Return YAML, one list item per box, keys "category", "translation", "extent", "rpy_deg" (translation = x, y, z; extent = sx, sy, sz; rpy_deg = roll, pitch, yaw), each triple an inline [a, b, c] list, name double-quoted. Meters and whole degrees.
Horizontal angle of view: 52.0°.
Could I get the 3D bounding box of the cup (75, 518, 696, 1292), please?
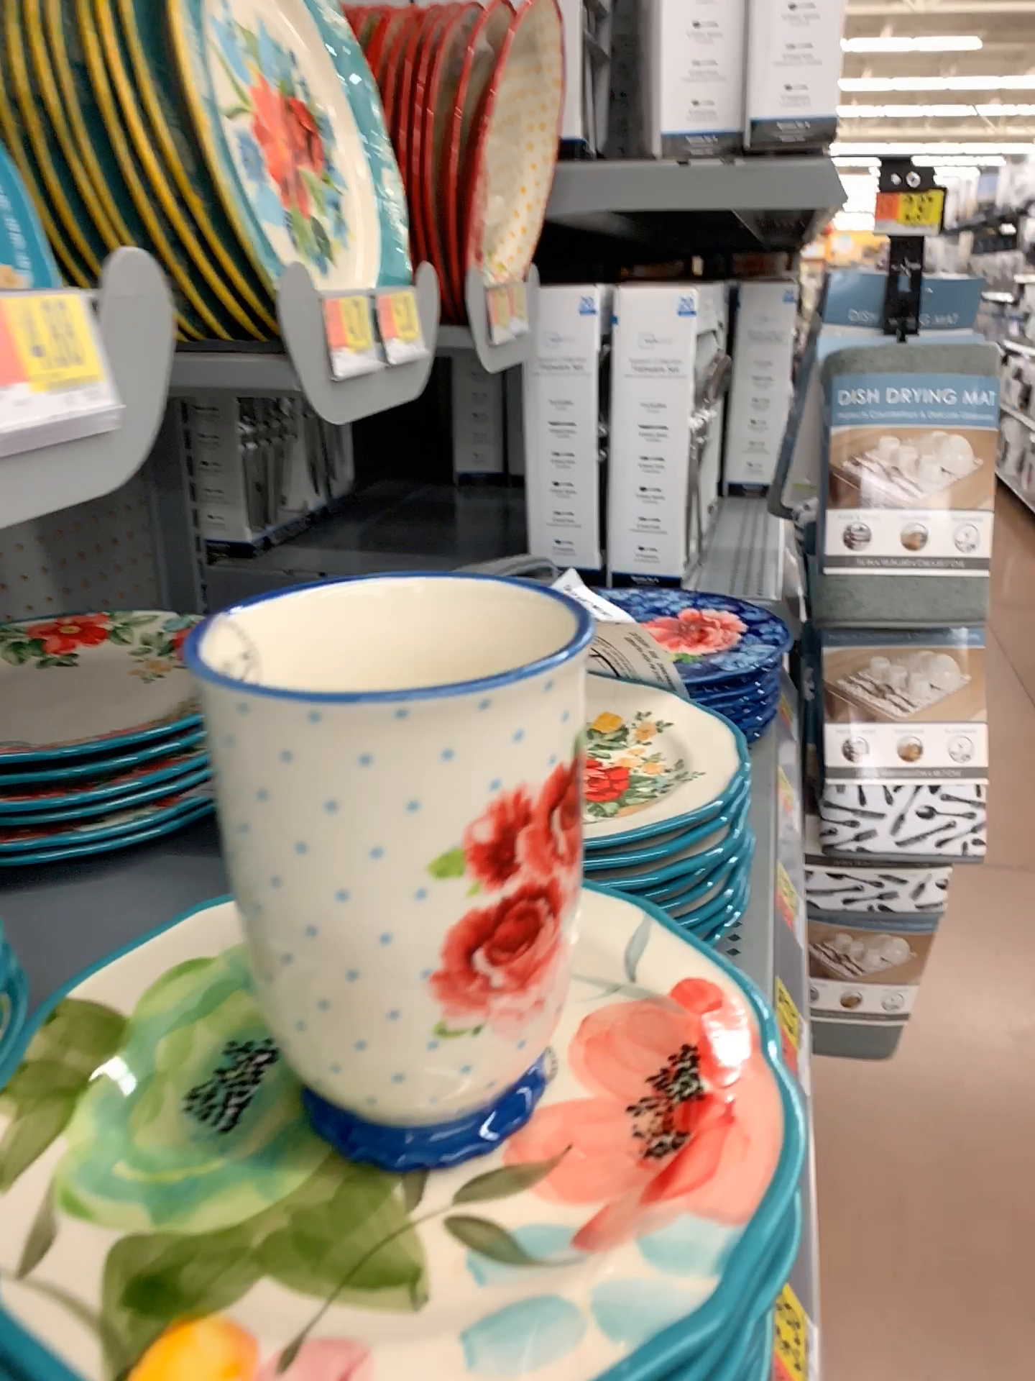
- category: "cup"
  translation: [-0.020, 0.037, 0.272]
  extent: [0.090, 0.129, 0.131]
  rpy_deg: [9, 23, 23]
